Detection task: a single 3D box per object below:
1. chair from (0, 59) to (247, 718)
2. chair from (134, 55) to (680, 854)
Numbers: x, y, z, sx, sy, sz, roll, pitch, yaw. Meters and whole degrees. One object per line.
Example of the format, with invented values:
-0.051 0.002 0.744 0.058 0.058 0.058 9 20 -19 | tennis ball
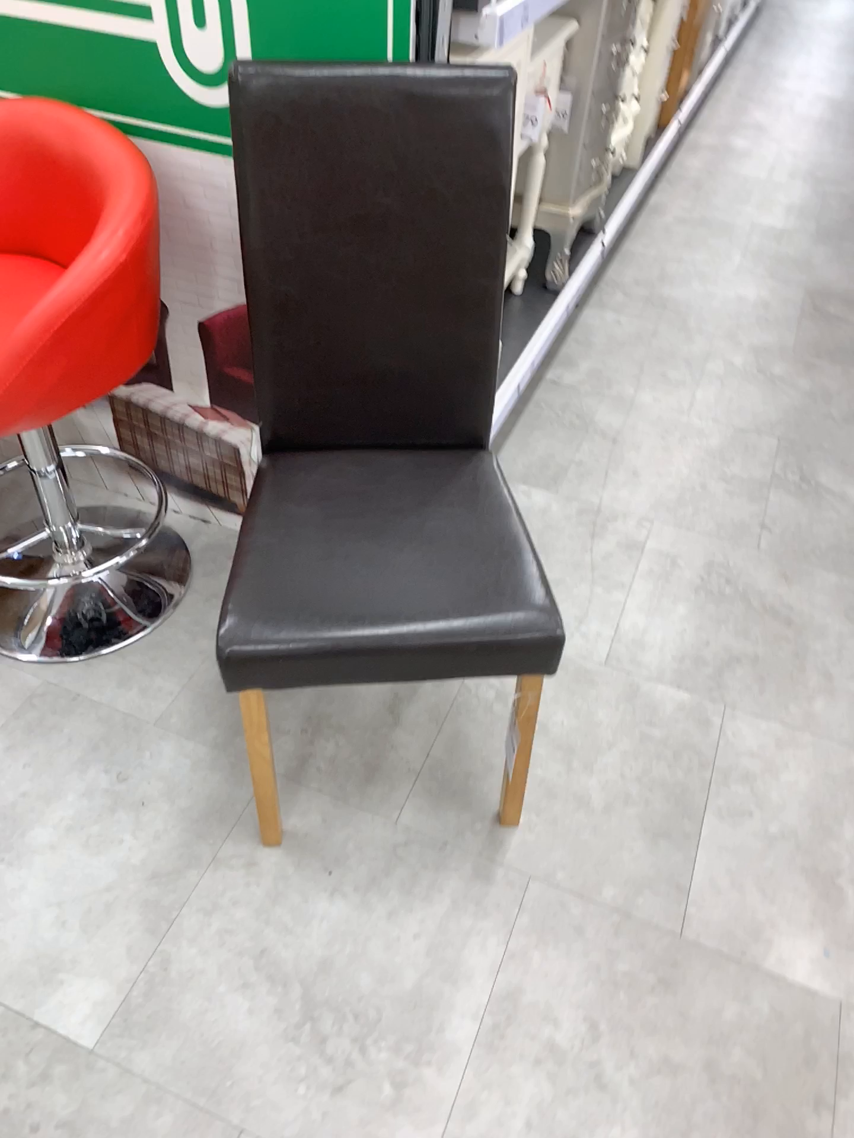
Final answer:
-0.632 -0.261 1.333 0.427 0.774 0.458 29 49 24 | chair
-0.057 -0.109 1.190 0.425 0.913 0.561 -2 44 -6 | chair
